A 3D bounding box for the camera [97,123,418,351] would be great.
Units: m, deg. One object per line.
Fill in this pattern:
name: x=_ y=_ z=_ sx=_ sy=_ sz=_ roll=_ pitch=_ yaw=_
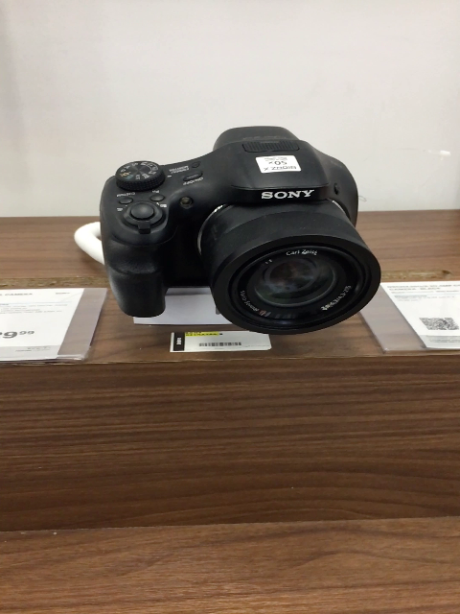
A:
camera: x=0.006 y=-0.042 z=0.336 sx=0.140 sy=0.088 sz=0.105 roll=-3 pitch=38 yaw=-5
